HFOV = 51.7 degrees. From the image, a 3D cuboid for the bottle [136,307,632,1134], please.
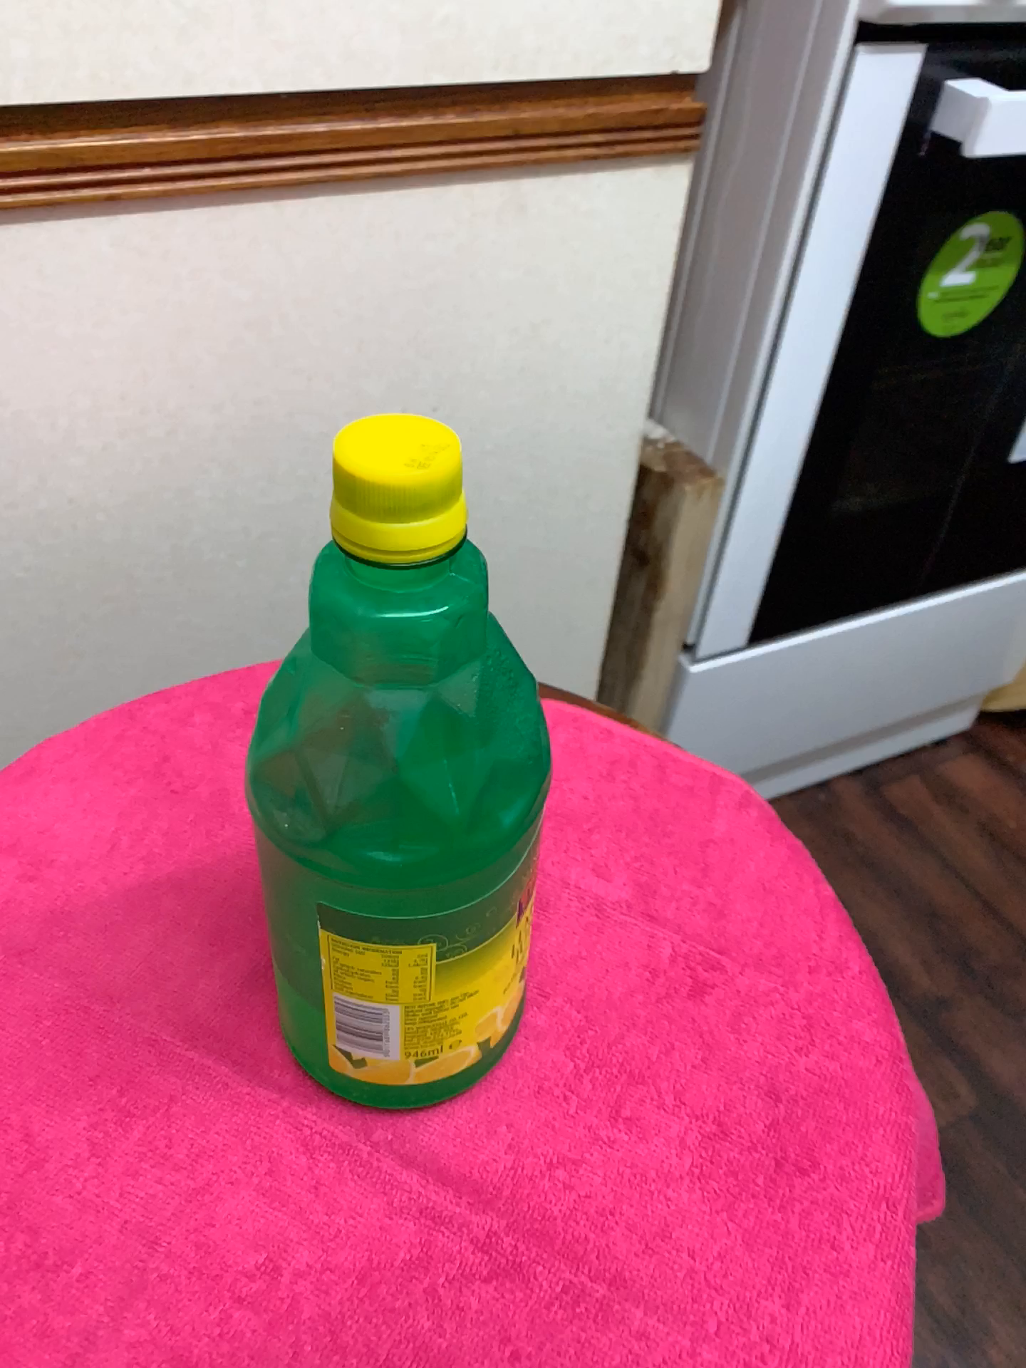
[{"bbox_3d":[-0.030,0.025,0.317,0.090,0.228,0.101,9,42,4],"label":"bottle"}]
